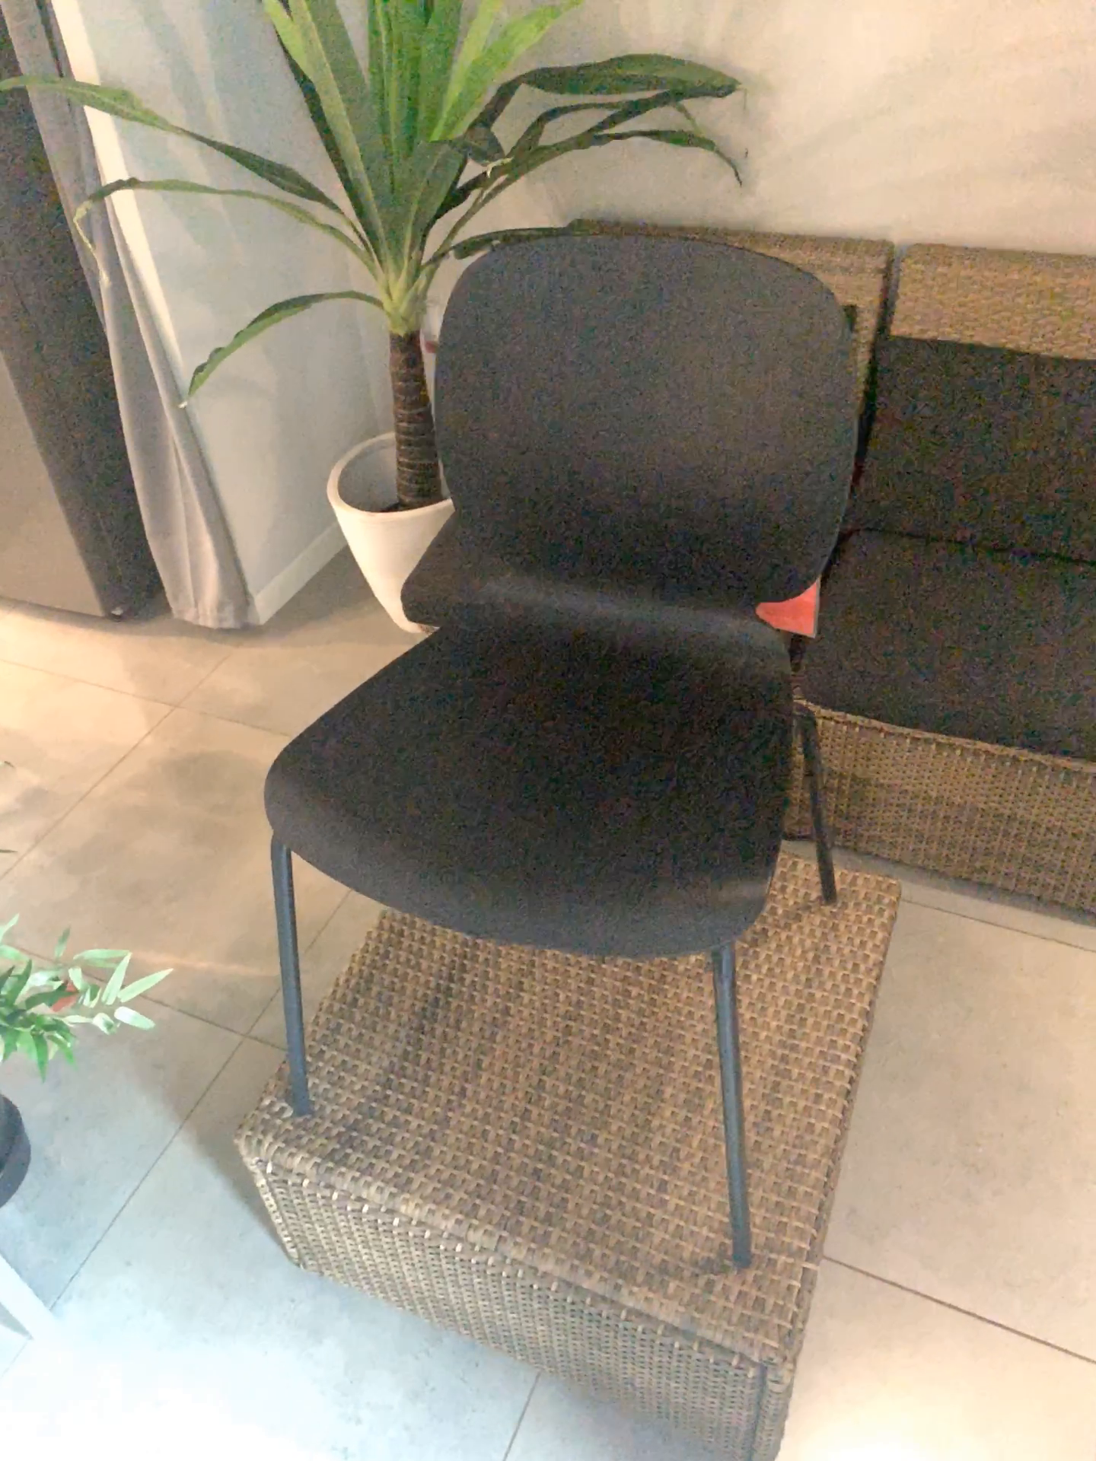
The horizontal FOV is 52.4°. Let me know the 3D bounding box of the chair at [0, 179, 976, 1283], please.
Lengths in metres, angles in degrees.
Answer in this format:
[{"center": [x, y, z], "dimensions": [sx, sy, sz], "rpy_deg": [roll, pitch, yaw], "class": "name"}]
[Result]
[{"center": [0.021, -0.011, 1.048], "dimensions": [0.531, 0.767, 0.561], "rpy_deg": [12, 44, 18], "class": "chair"}]
